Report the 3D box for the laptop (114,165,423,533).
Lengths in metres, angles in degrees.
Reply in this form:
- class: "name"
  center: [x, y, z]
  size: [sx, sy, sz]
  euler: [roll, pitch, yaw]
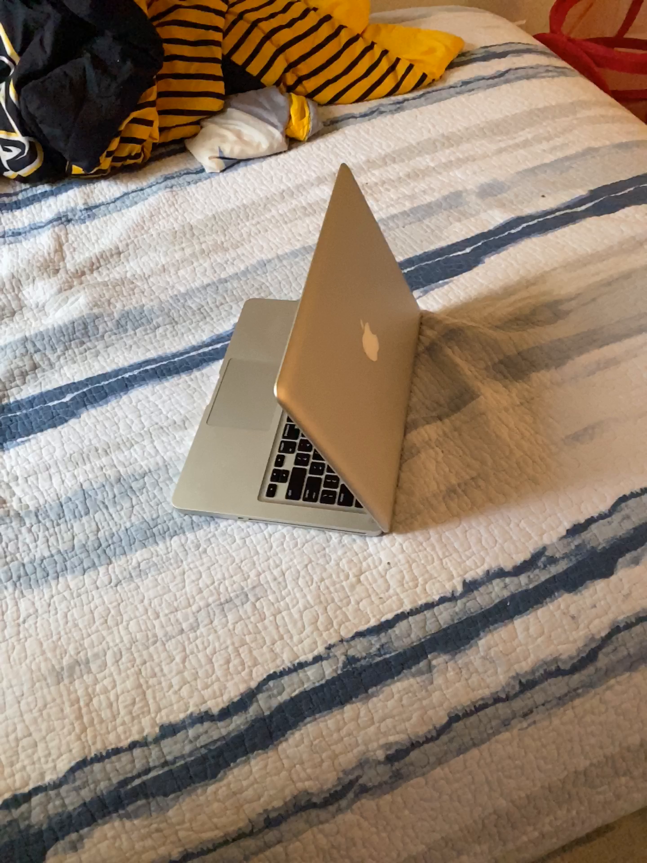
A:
- class: "laptop"
  center: [-0.028, -0.096, 0.680]
  size: [0.220, 0.191, 0.316]
  euler: [6, 54, 10]
